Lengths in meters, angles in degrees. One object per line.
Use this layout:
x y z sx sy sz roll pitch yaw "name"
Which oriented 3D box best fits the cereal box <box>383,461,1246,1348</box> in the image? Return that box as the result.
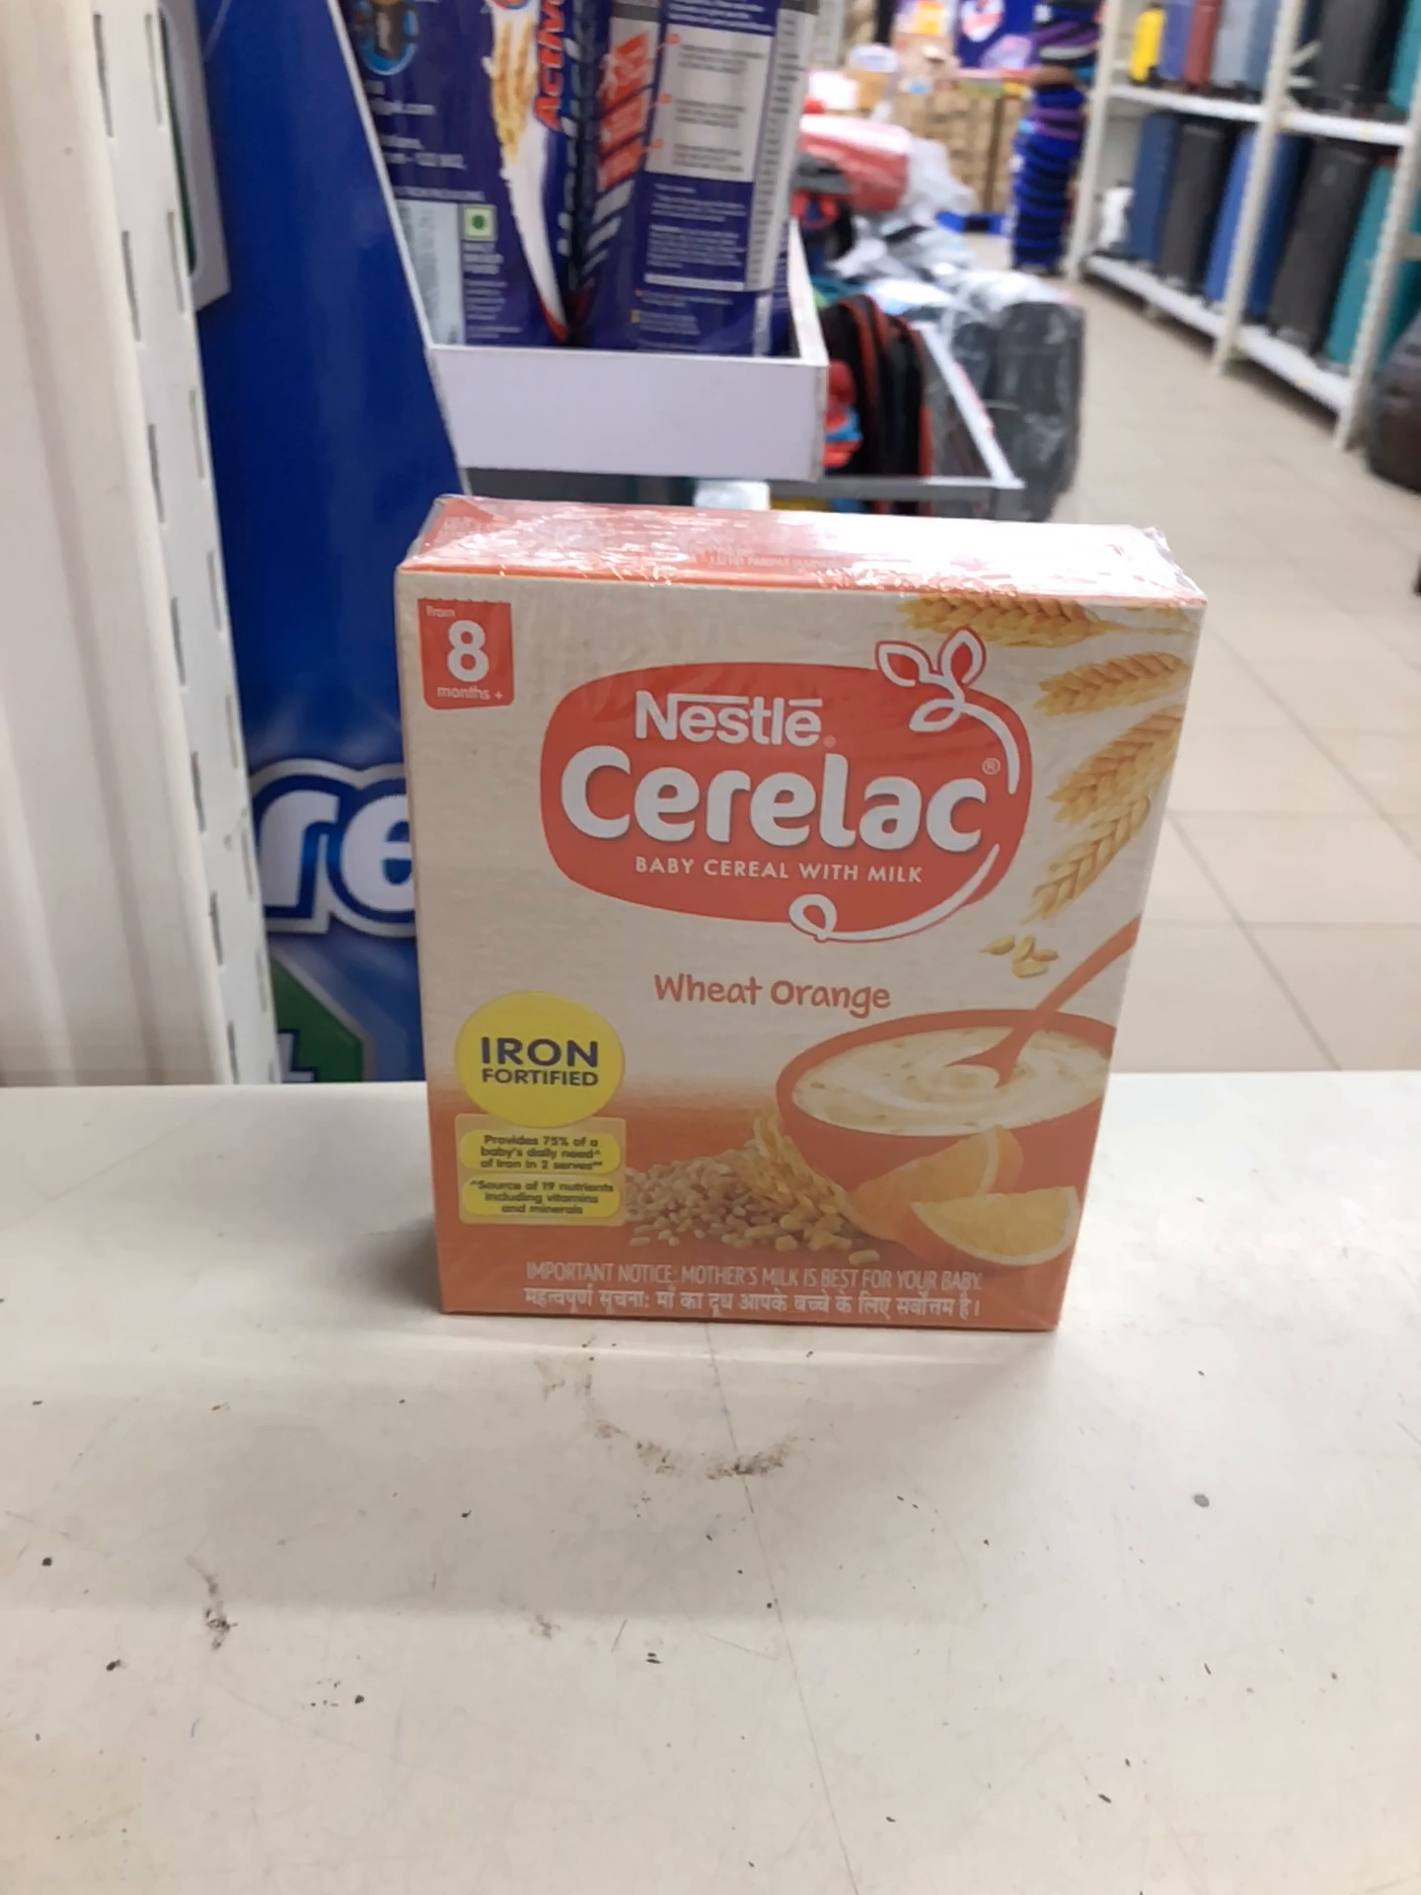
0.015 -0.001 0.364 0.160 0.199 0.050 3 31 -1 "cereal box"
